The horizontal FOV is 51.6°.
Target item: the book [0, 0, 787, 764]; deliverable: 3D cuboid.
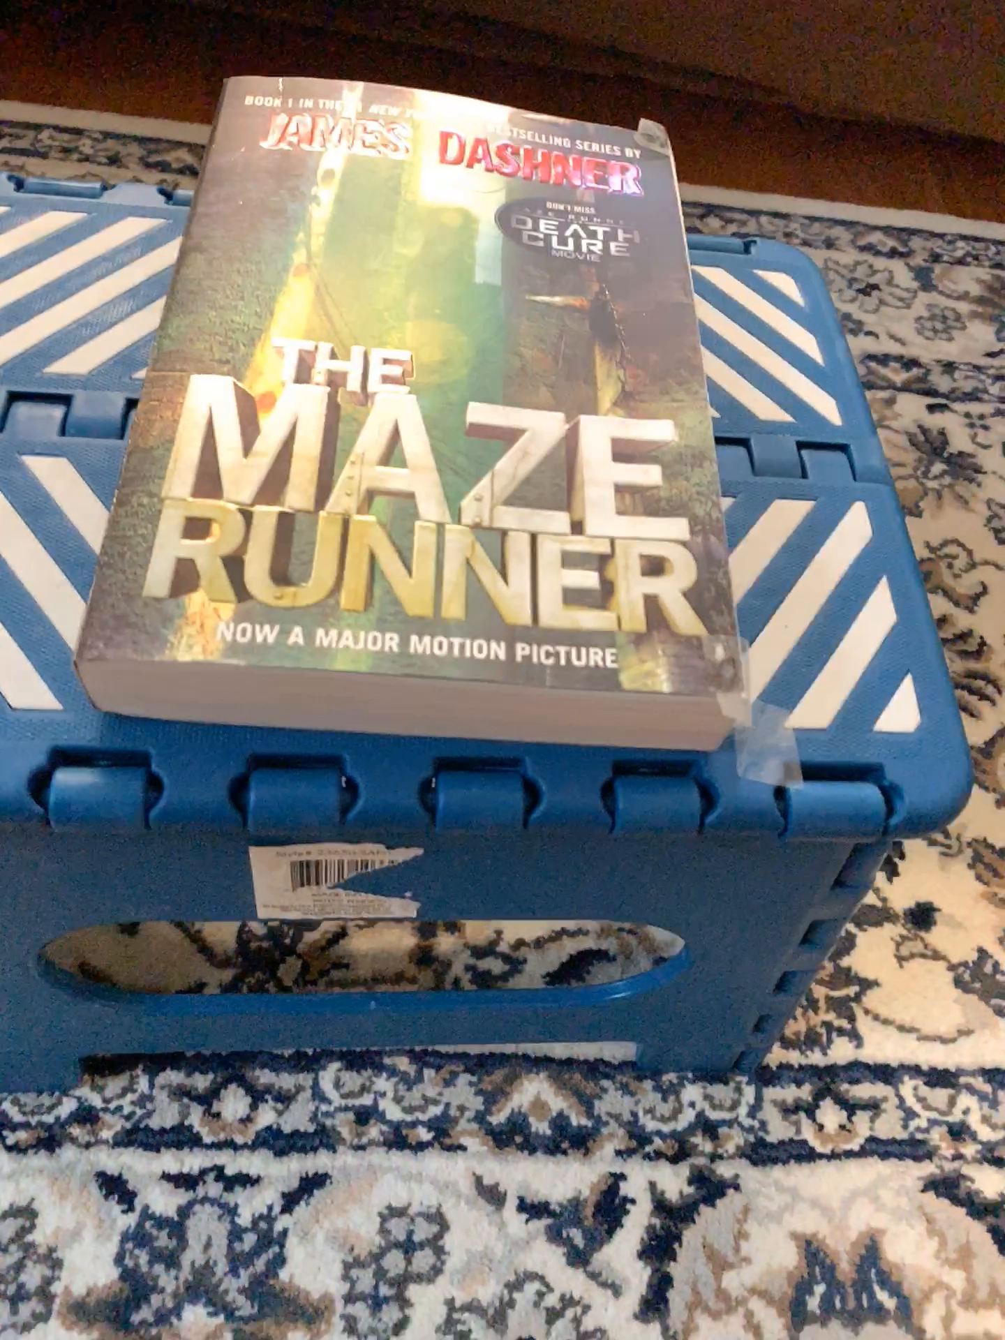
[{"bbox_3d":[-0.021,-0.091,0.266,0.150,0.030,0.232,4,57,-5],"label":"book"}]
